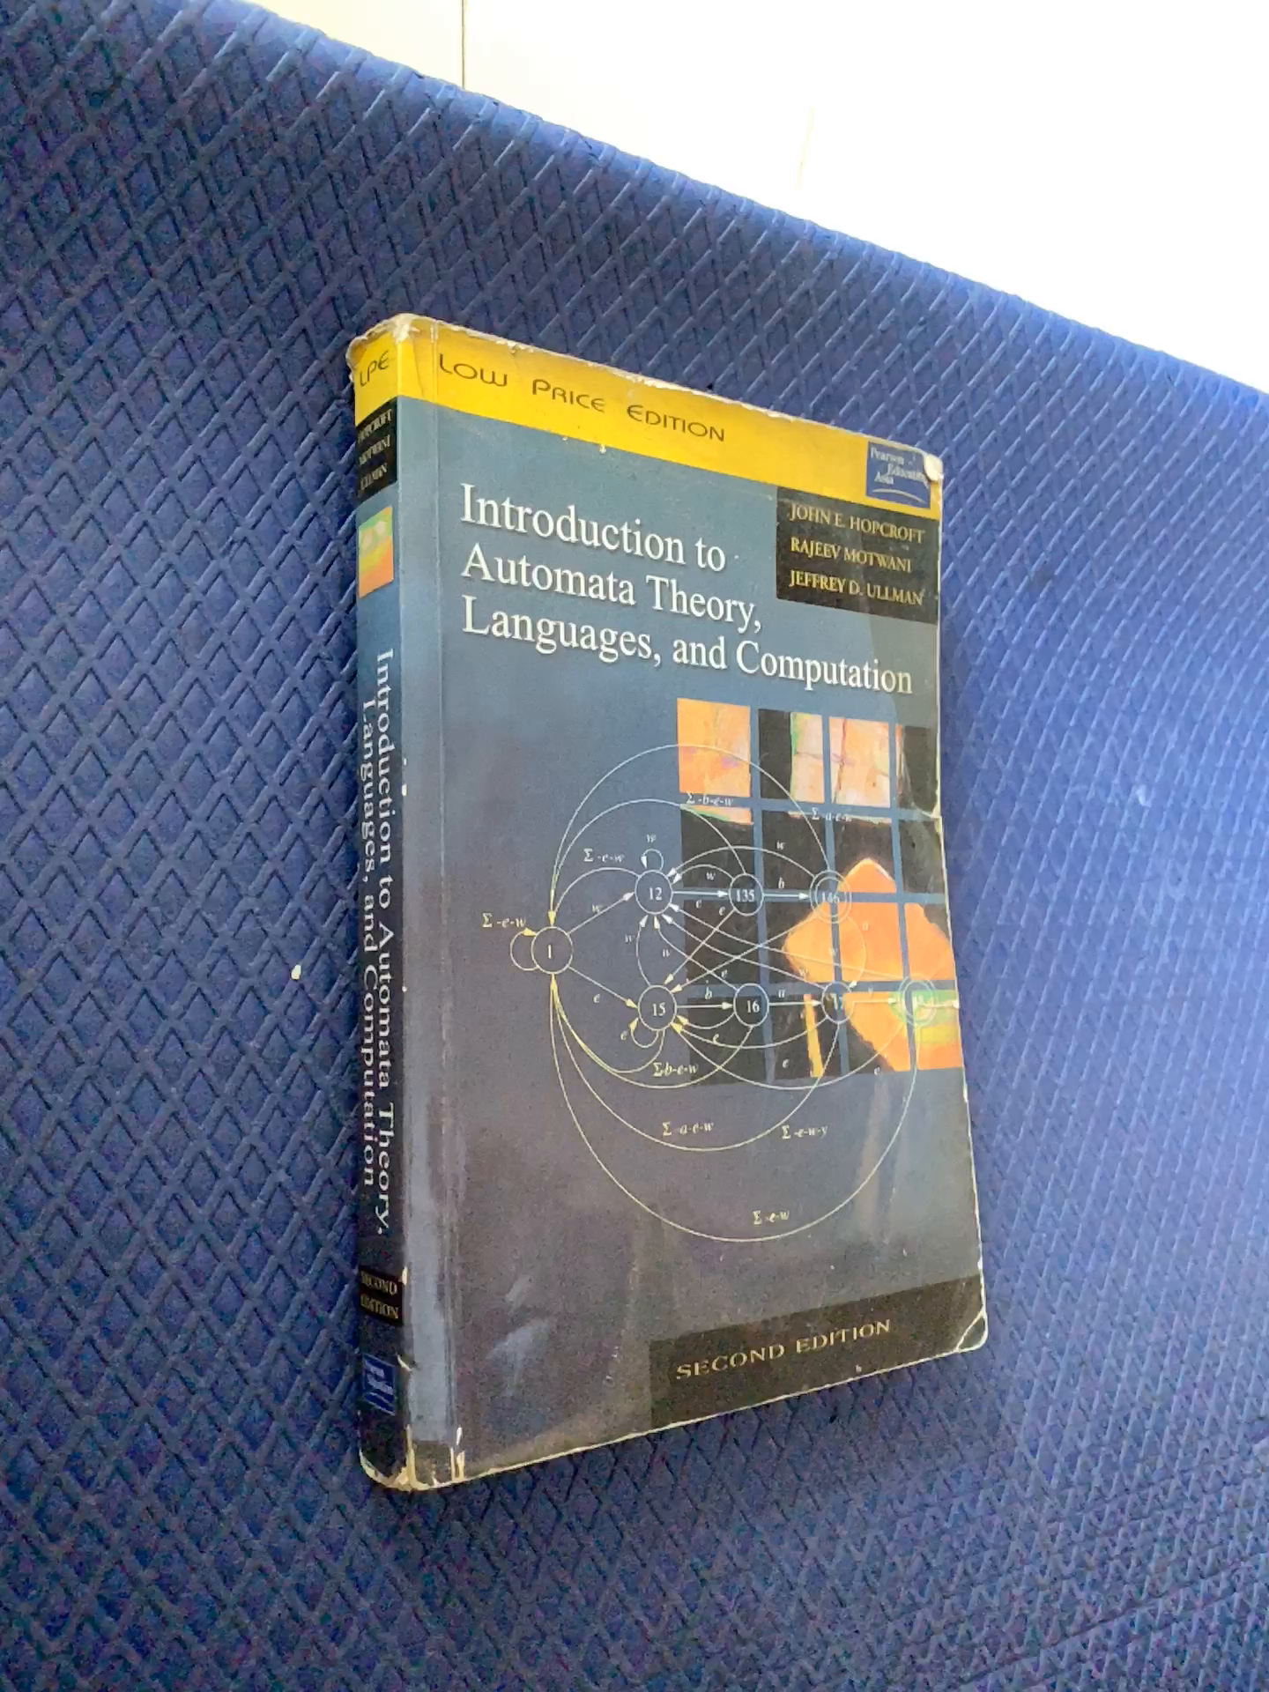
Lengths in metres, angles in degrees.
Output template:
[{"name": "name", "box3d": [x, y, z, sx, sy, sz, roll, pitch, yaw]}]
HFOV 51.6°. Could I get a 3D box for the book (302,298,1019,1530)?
[{"name": "book", "box3d": [0.008, 0.010, 0.306, 0.151, 0.050, 0.230, 1, 81, -33]}]
